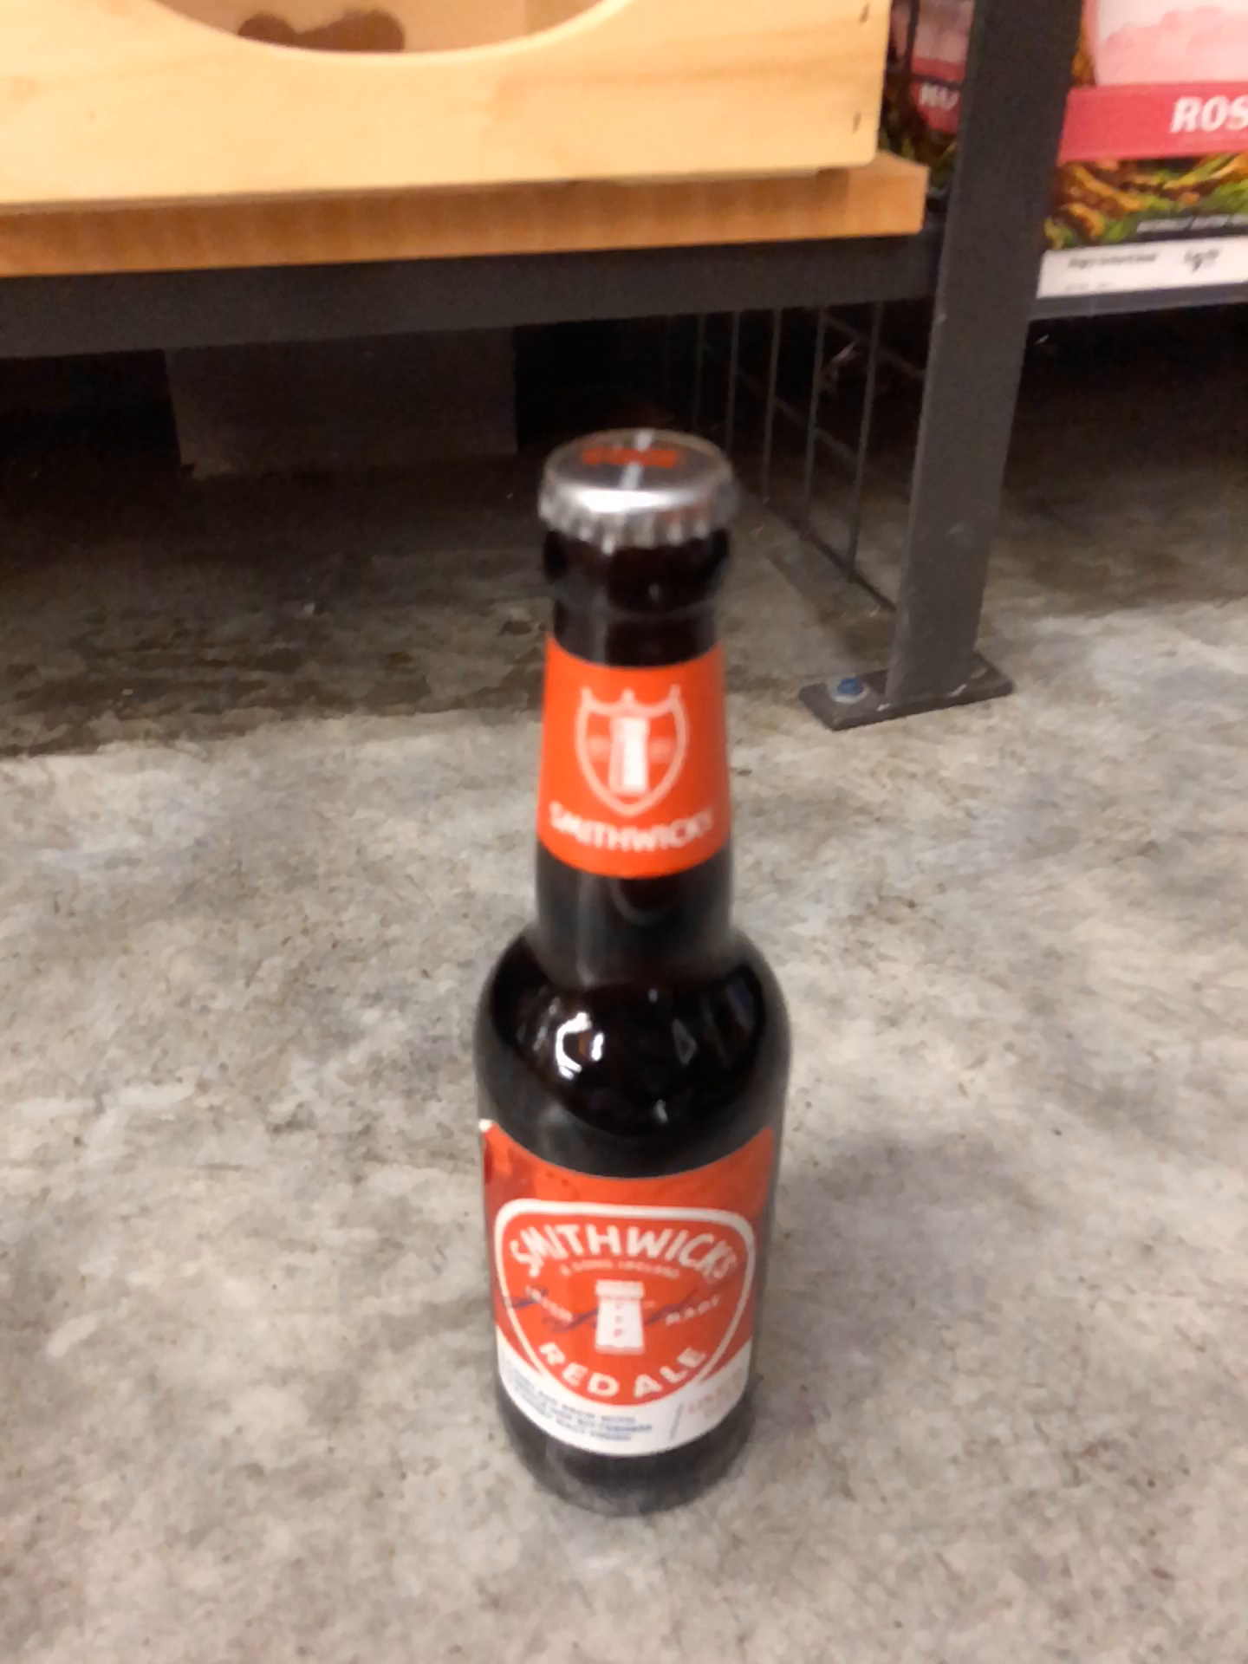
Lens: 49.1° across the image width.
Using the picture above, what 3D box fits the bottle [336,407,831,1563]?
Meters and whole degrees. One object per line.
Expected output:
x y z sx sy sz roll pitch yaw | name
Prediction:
-0.003 0.042 0.253 0.059 0.220 0.060 1 34 0 | bottle
